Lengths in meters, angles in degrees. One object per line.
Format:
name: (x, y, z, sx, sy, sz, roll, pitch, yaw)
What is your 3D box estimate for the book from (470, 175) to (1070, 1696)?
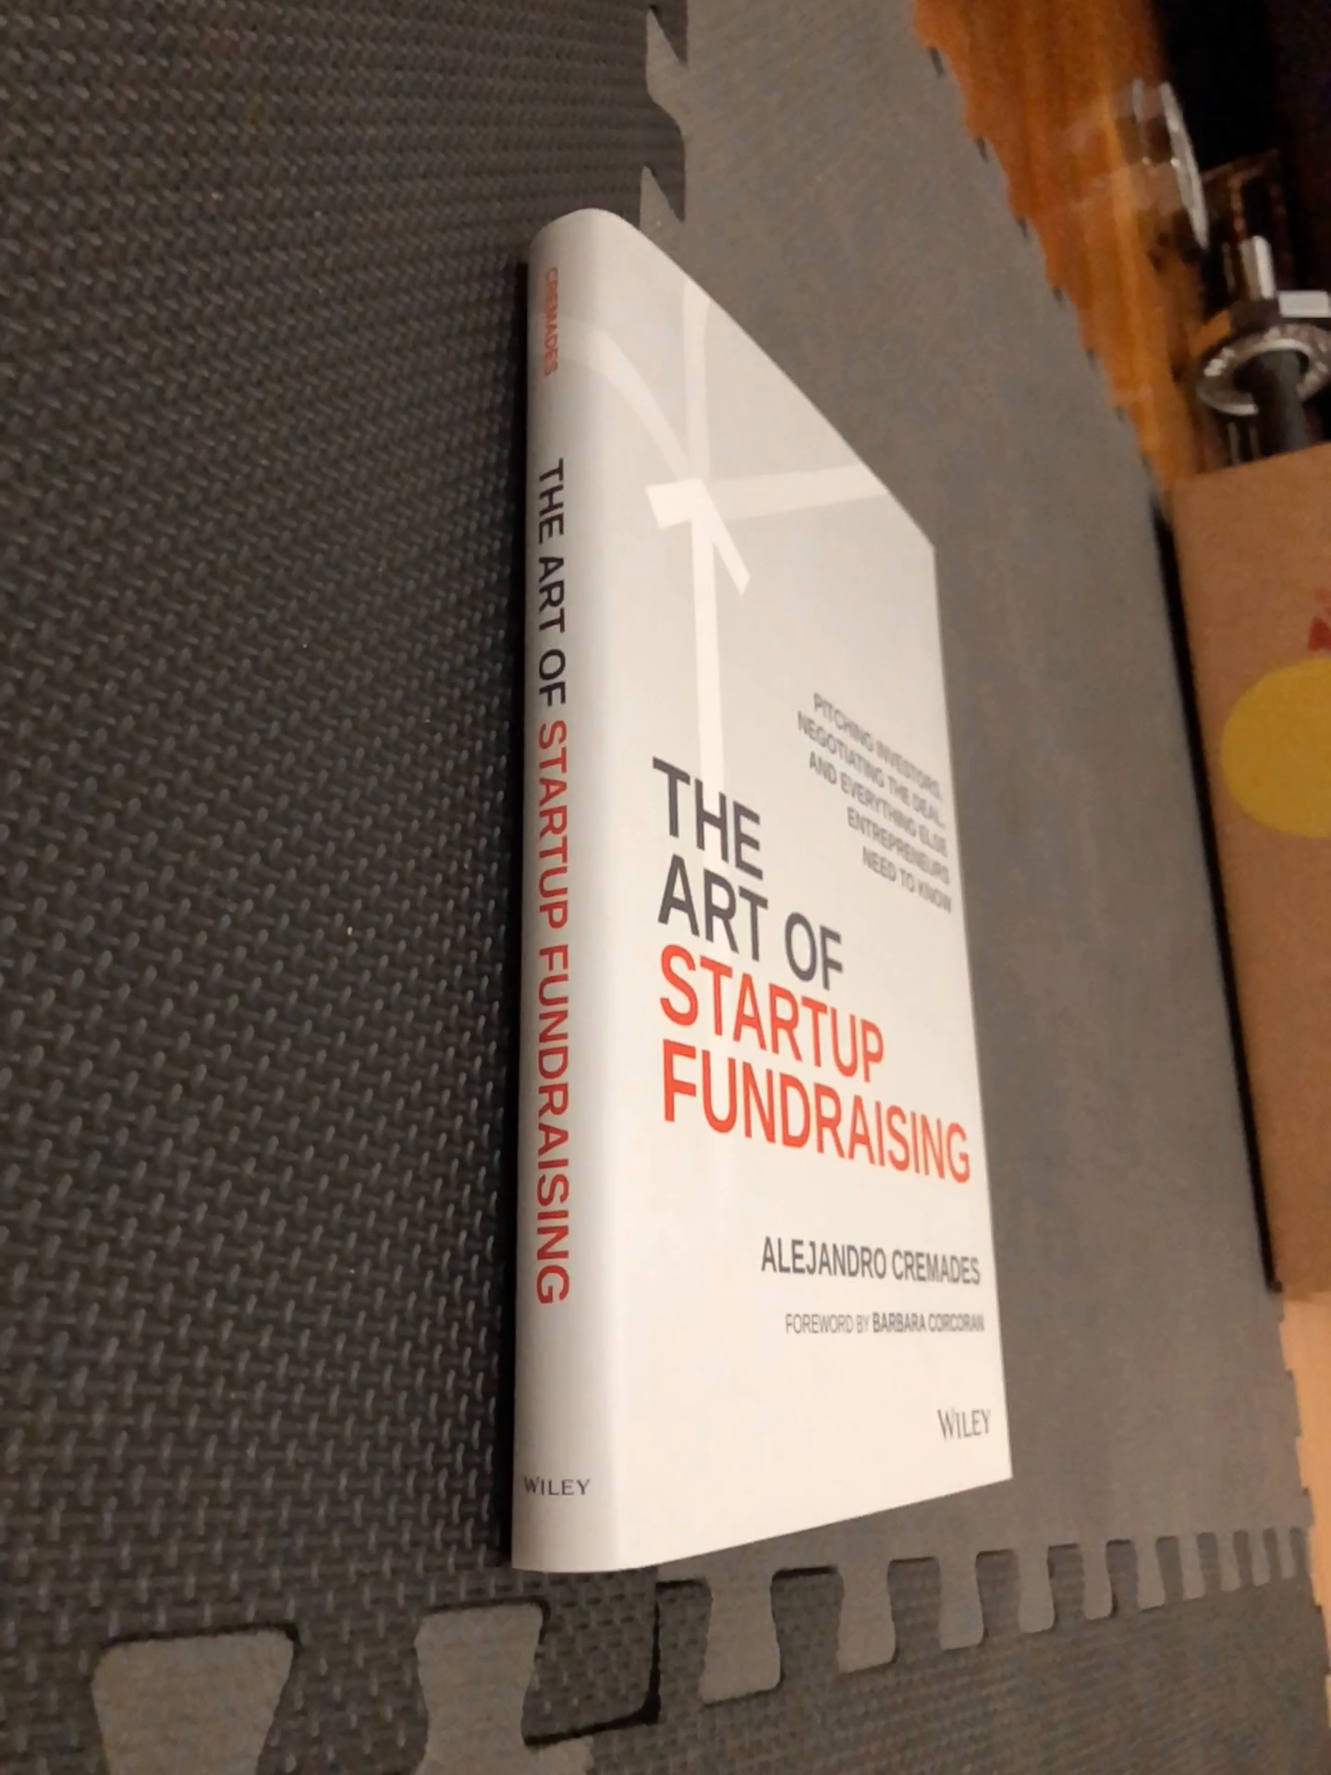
book: (0.028, 0.012, 0.309, 0.171, 0.030, 0.250, 26, 56, -53)
